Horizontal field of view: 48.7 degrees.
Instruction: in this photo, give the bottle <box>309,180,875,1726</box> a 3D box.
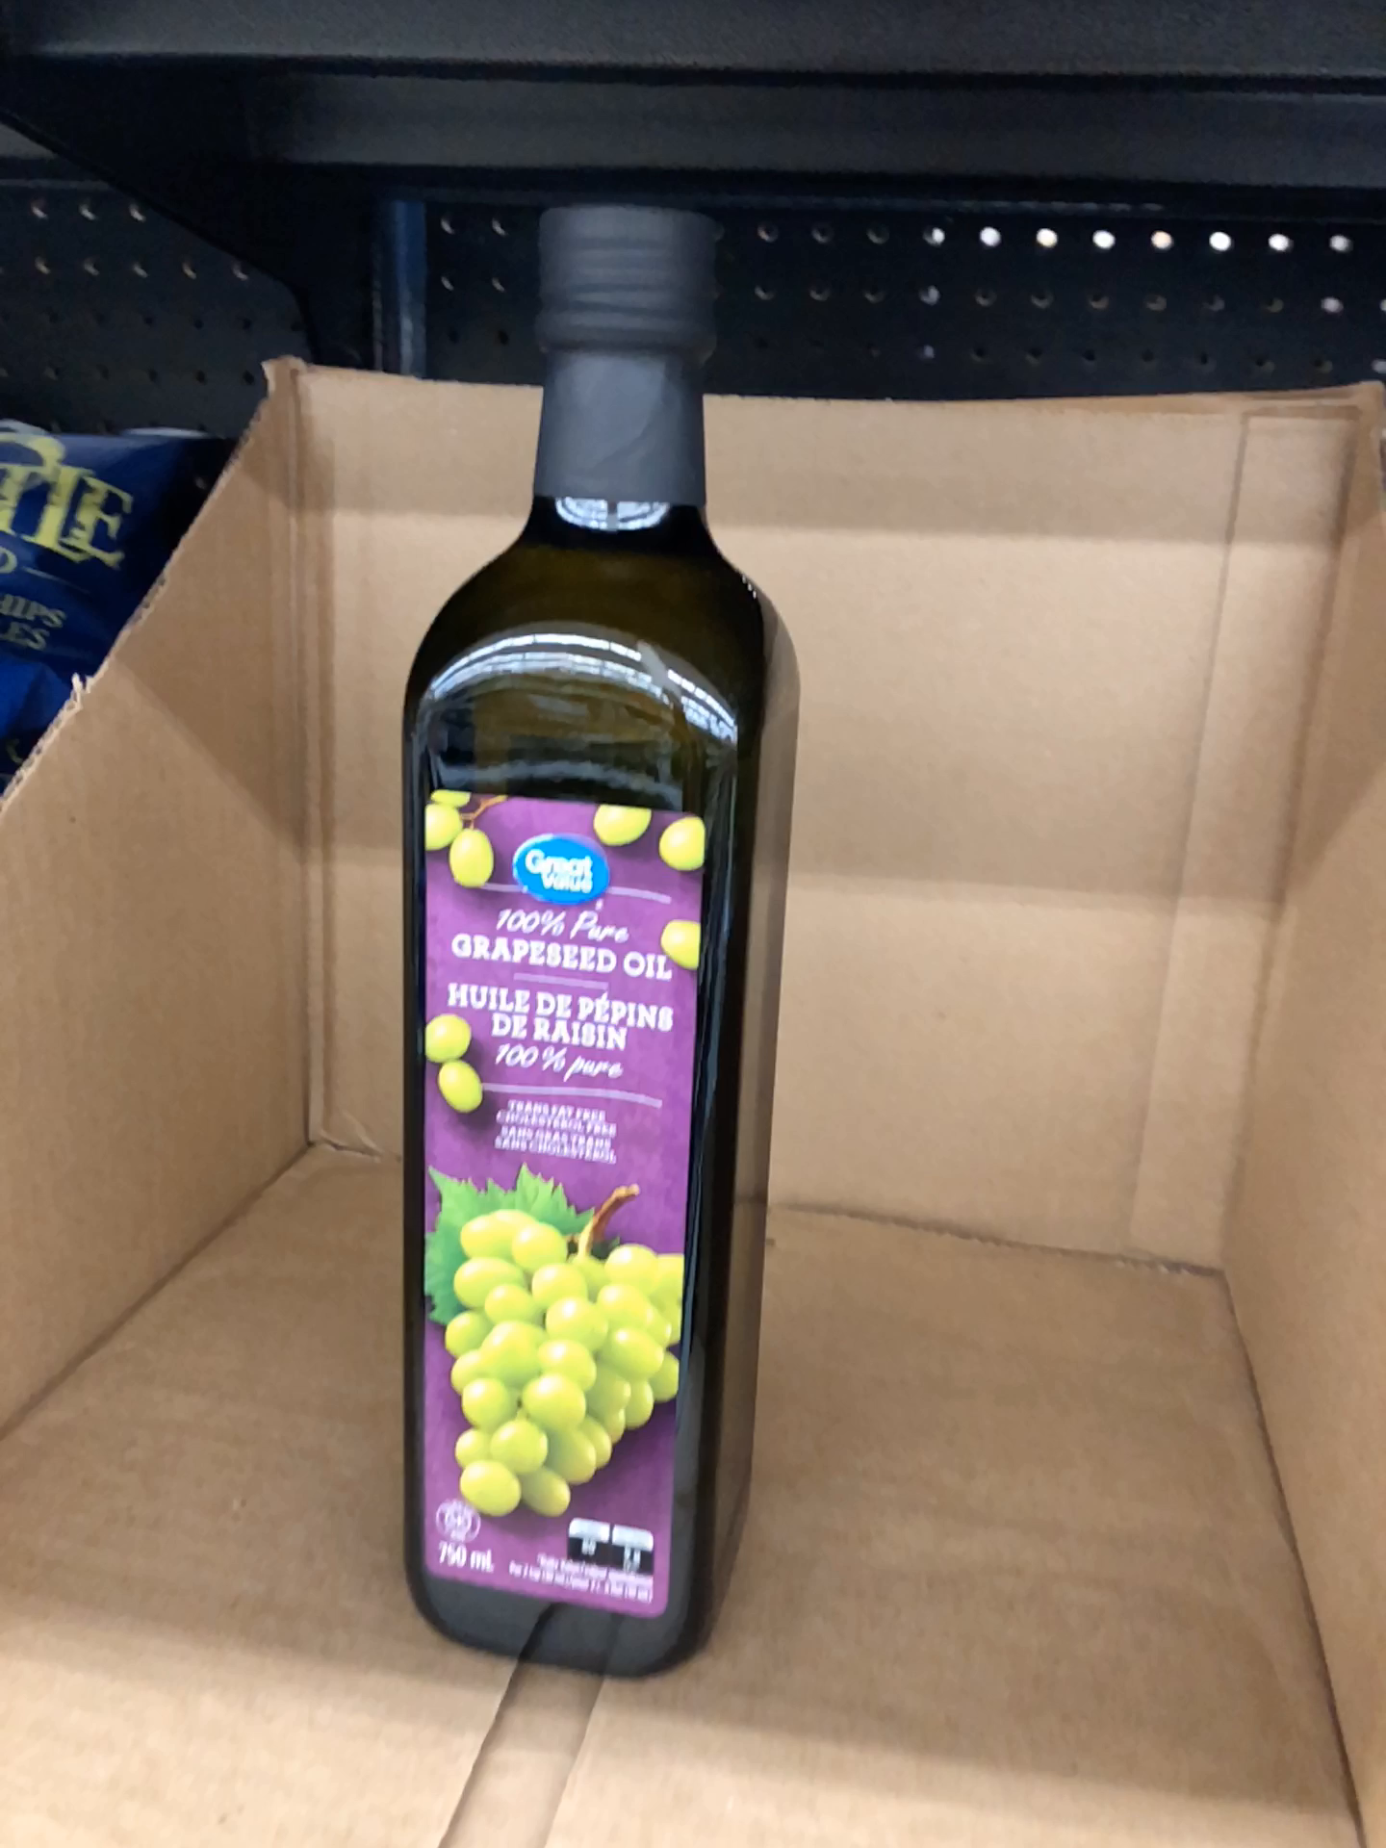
[{"bbox_3d":[-0.018,0.014,0.297,0.080,0.278,0.060,6,19,11],"label":"bottle"}]
